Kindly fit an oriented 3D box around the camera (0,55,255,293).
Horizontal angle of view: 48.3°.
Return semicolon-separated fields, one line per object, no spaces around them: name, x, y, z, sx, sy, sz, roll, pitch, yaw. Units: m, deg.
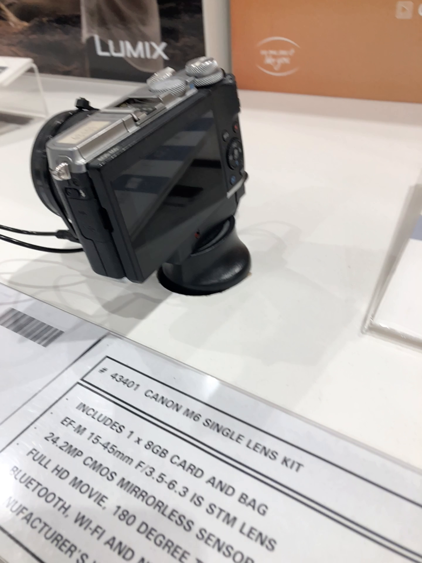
camera;-0.041;-0.063;0.248;0.083;0.075;0.103;15;44;31
